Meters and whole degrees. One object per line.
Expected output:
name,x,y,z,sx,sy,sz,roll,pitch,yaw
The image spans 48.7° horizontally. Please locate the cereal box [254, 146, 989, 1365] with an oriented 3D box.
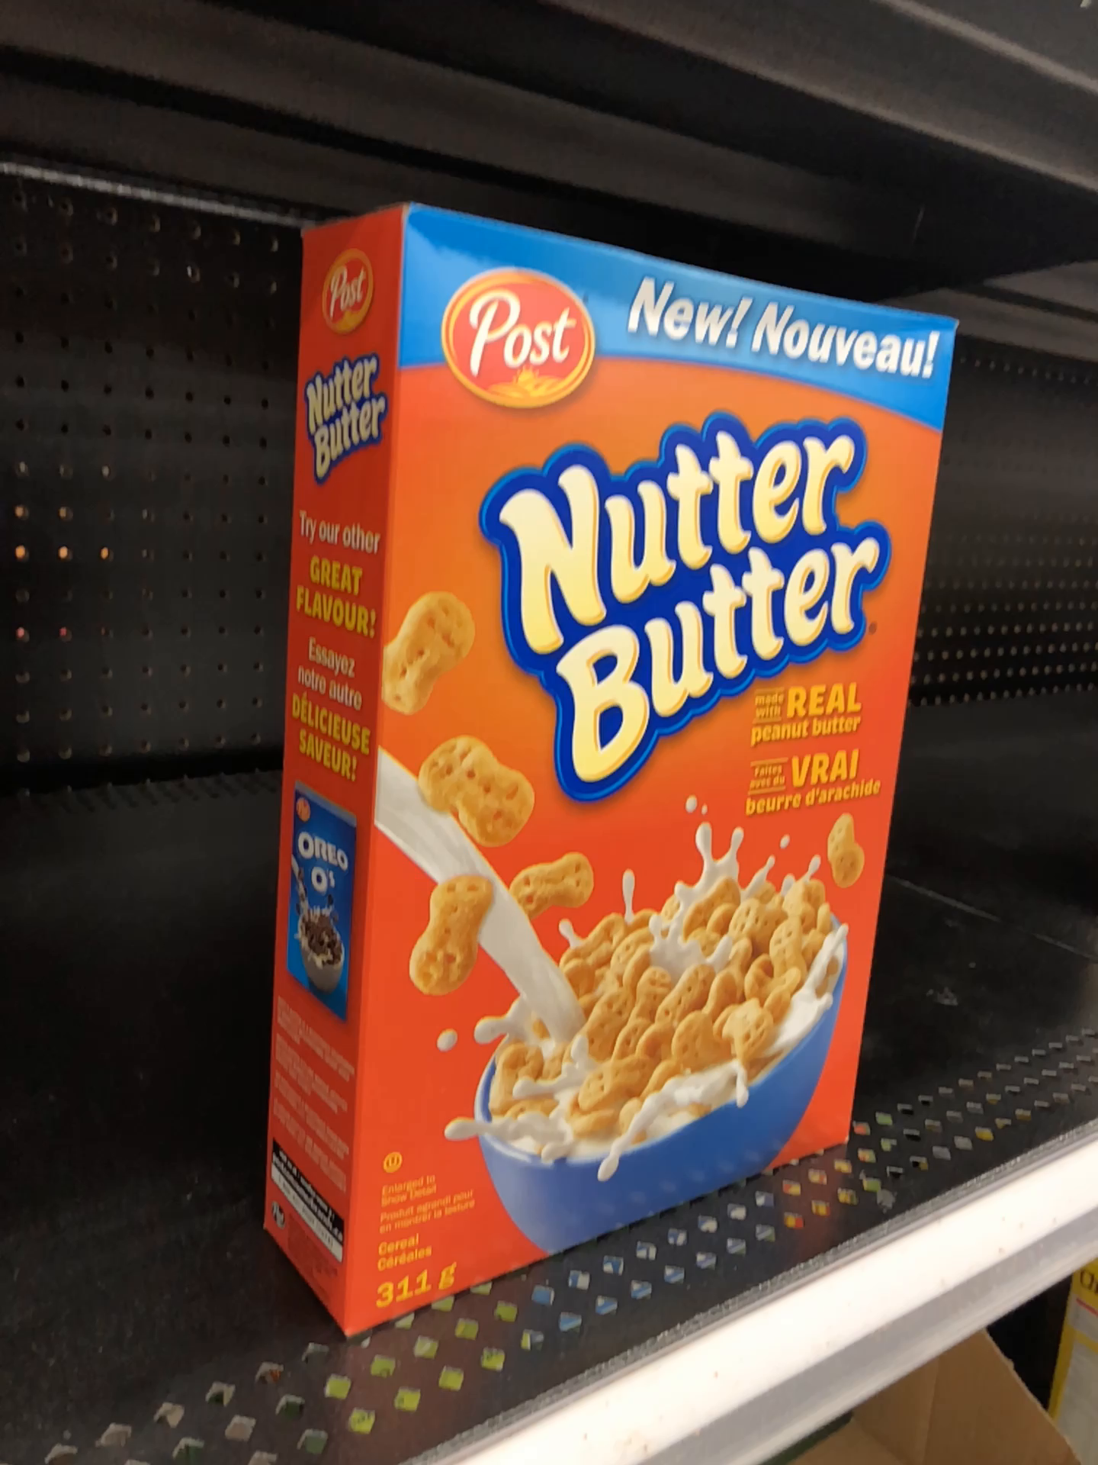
cereal box,0.021,0.006,0.348,0.190,0.279,0.060,-5,15,-36
